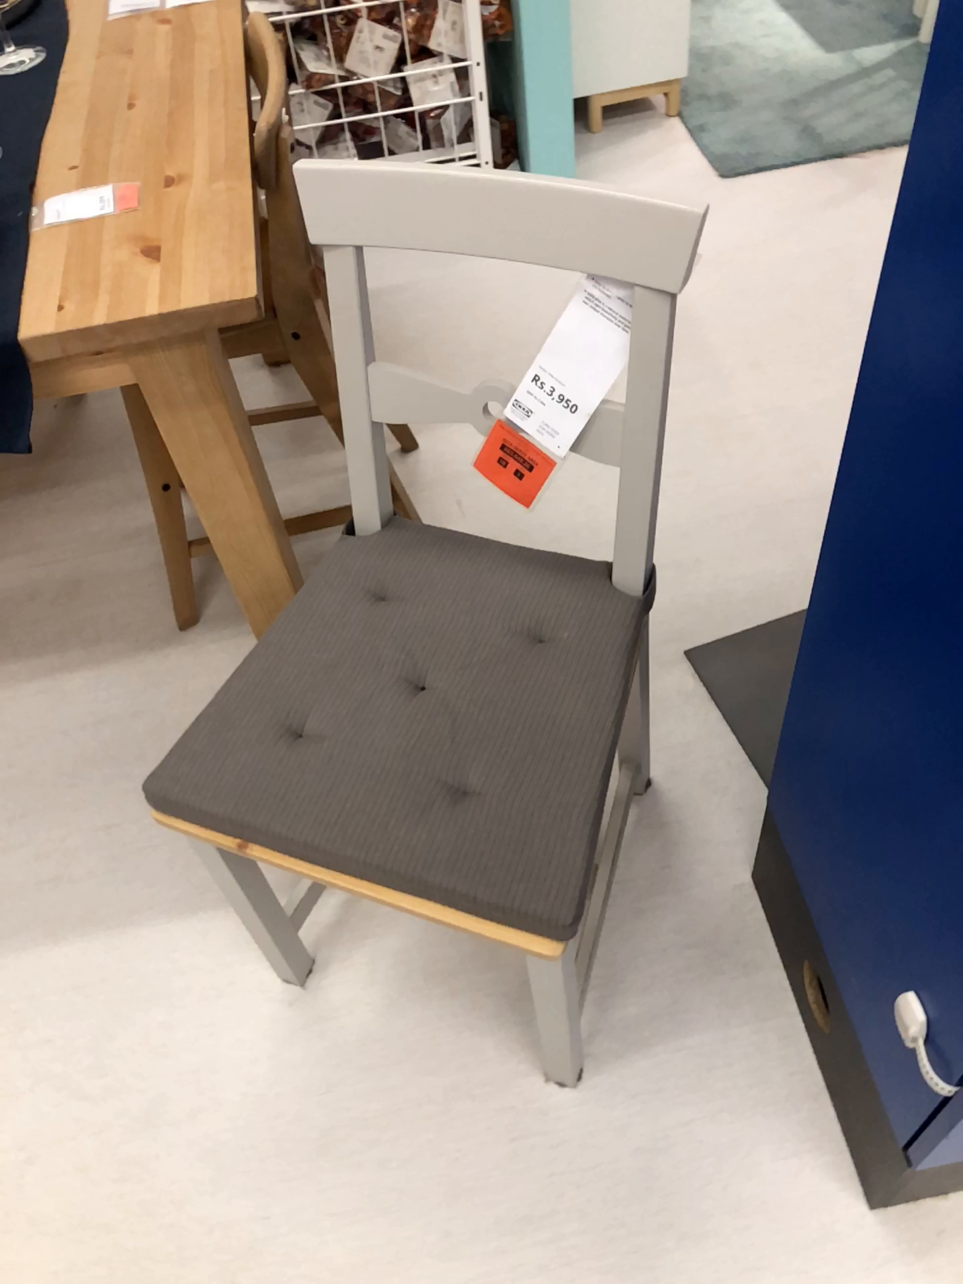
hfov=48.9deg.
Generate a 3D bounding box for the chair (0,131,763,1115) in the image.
[{"bbox_3d":[-0.042,0.030,1.001,0.431,0.766,0.472,14,54,17],"label":"chair"}]
